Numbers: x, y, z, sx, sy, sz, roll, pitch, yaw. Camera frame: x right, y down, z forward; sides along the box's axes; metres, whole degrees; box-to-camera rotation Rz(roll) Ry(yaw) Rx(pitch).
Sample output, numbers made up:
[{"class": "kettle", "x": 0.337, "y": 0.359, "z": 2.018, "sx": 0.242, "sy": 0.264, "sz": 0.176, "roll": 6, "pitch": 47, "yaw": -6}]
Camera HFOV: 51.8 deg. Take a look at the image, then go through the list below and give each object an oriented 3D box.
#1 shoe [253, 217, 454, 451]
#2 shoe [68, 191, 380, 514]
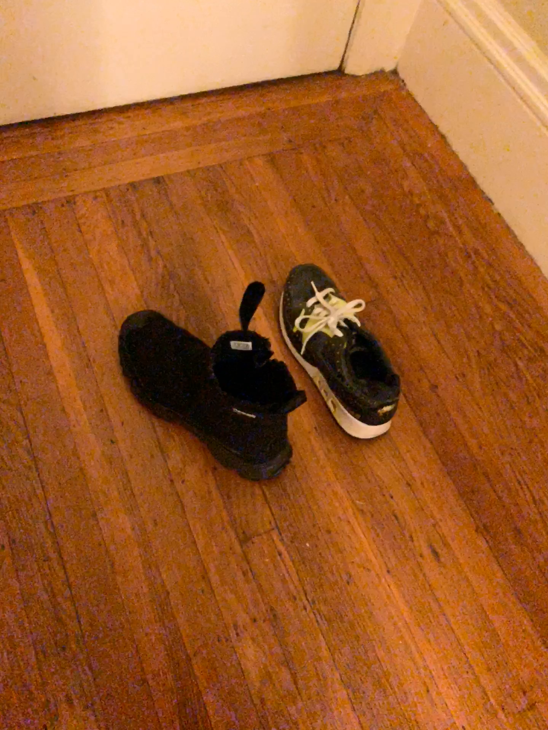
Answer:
[{"class": "shoe", "x": 0.097, "y": -0.048, "z": 0.778, "sx": 0.120, "sy": 0.100, "sz": 0.290, "roll": -23, "pitch": 69, "yaw": -19}, {"class": "shoe", "x": -0.071, "y": -0.004, "z": 0.711, "sx": 0.310, "sy": 0.239, "sz": 0.160, "roll": 41, "pitch": 64, "yaw": 12}]
